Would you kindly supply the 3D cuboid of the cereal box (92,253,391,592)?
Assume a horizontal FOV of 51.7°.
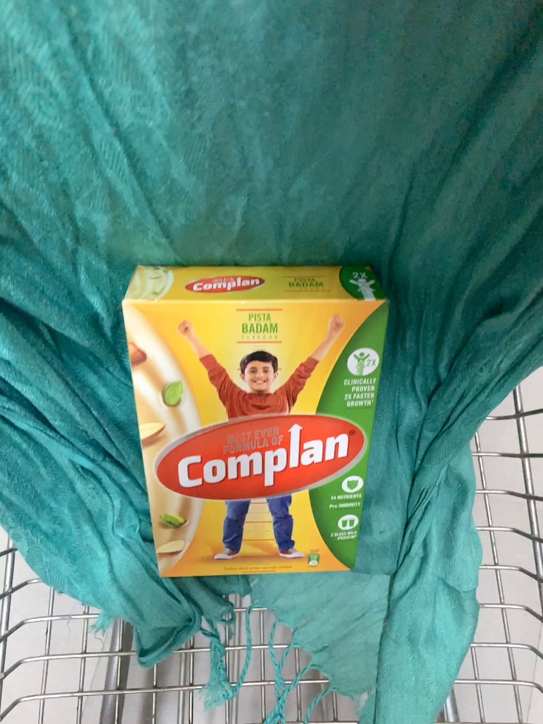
[{"bbox_3d":[-0.014,0.043,0.337,0.140,0.060,0.200,-2,119,-2],"label":"cereal box"}]
